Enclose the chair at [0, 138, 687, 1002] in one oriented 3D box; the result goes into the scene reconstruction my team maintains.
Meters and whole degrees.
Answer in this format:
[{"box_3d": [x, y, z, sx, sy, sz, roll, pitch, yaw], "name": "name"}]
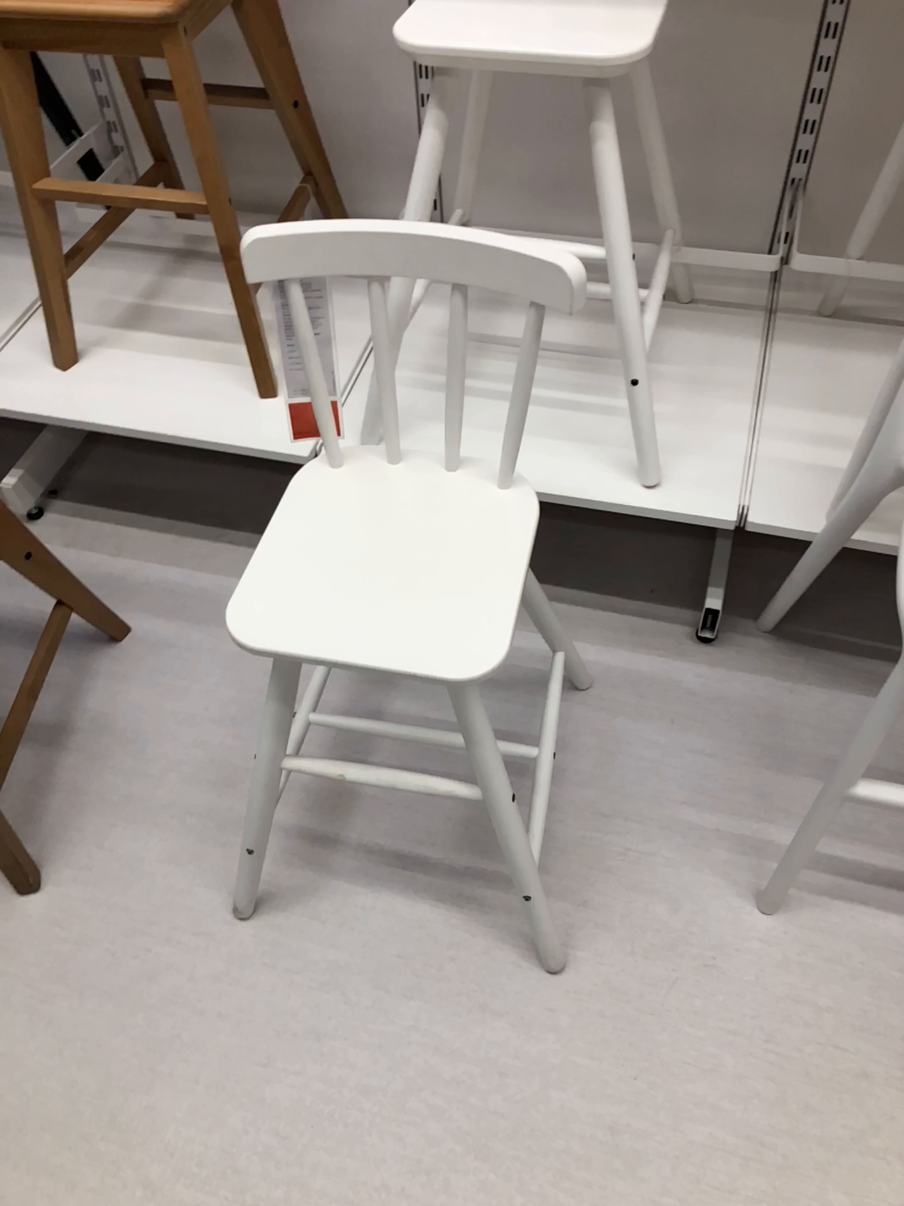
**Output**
[{"box_3d": [-0.046, 0.013, 1.093, 0.470, 0.795, 0.503, 7, 52, 10], "name": "chair"}]
